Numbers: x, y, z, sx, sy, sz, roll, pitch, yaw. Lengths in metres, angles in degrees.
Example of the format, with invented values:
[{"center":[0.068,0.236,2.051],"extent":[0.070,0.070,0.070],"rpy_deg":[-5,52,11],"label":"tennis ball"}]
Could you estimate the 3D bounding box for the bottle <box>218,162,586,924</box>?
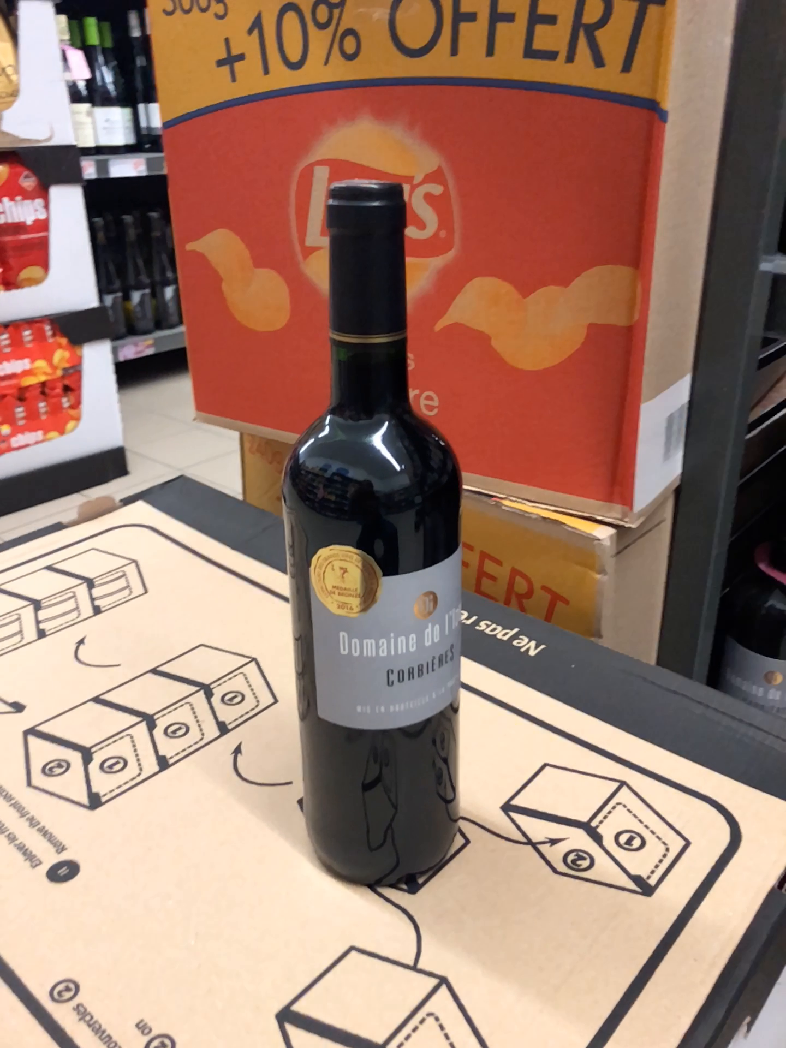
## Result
[{"center":[0.002,0.008,0.347],"extent":[0.090,0.279,0.090],"rpy_deg":[-1,25,0],"label":"bottle"}]
